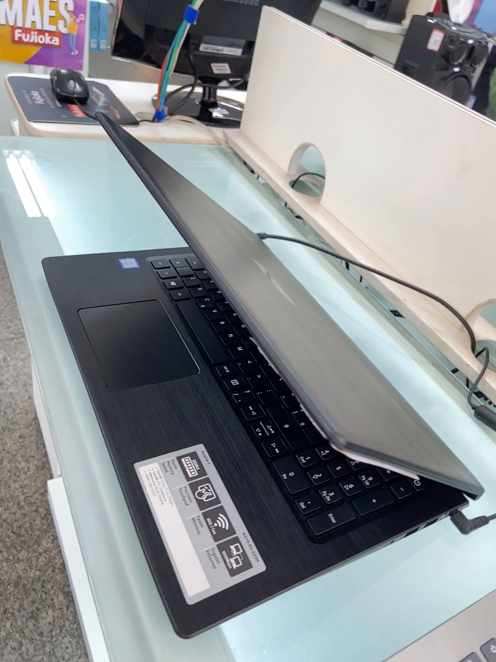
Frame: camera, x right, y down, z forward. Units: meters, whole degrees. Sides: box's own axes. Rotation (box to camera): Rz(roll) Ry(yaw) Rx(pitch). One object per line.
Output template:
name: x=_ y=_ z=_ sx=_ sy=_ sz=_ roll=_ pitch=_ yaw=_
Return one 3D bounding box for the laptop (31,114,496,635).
laptop: x=-0.005 y=-0.026 z=0.400 sx=0.233 sy=0.142 sz=0.368 roll=-10 pitch=44 yaw=-29
